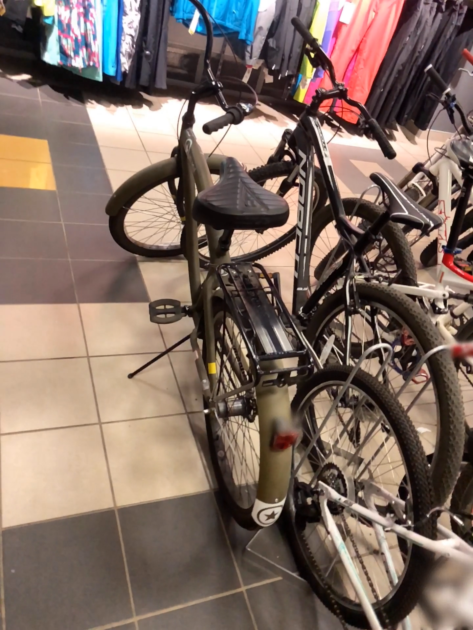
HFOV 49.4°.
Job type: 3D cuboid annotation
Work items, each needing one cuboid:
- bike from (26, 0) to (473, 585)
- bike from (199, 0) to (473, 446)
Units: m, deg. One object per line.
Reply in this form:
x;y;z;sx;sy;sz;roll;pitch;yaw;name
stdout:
0.059;-0.264;1.571;0.831;1.130;1.504;11;42;-12;bike
0.354;-0.404;1.864;0.663;1.228;0.979;8;47;-16;bike
